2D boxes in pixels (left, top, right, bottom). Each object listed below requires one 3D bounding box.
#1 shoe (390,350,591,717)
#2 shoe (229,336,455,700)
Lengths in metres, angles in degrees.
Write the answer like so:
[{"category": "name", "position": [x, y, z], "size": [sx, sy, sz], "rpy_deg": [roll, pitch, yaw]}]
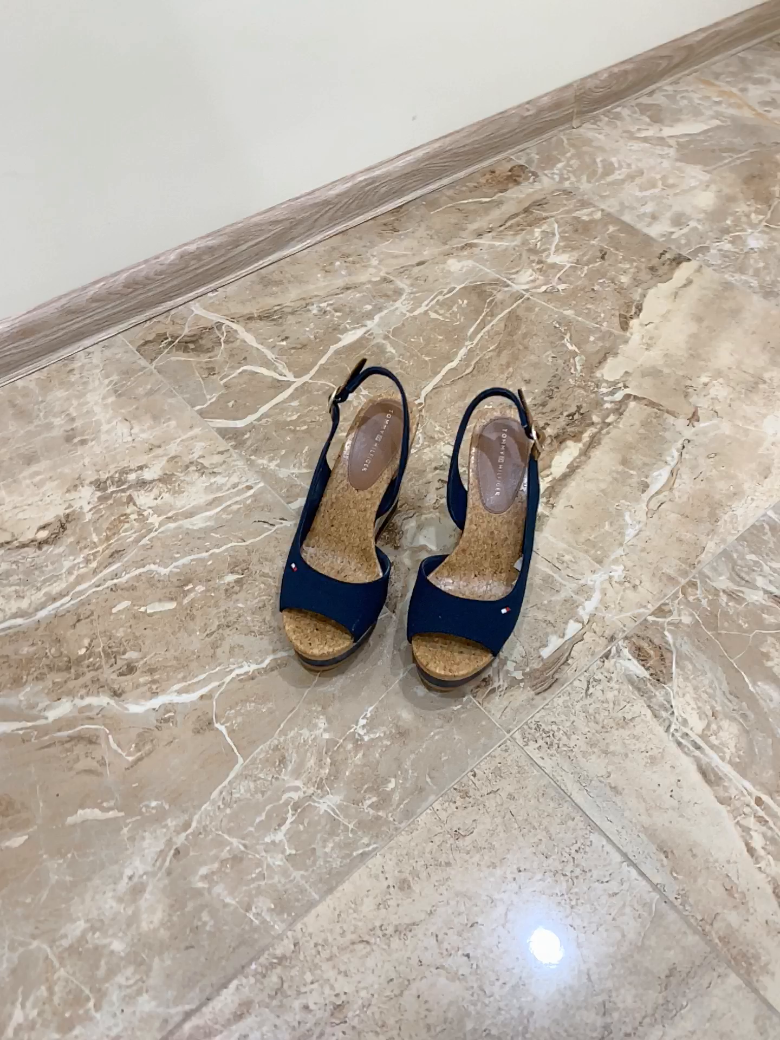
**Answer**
[{"category": "shoe", "position": [0.073, 0.007, 0.584], "size": [0.090, 0.145, 0.211], "rpy_deg": [13, 53, 8]}, {"category": "shoe", "position": [-0.026, -0.004, 0.587], "size": [0.090, 0.145, 0.211], "rpy_deg": [13, 53, 8]}]
